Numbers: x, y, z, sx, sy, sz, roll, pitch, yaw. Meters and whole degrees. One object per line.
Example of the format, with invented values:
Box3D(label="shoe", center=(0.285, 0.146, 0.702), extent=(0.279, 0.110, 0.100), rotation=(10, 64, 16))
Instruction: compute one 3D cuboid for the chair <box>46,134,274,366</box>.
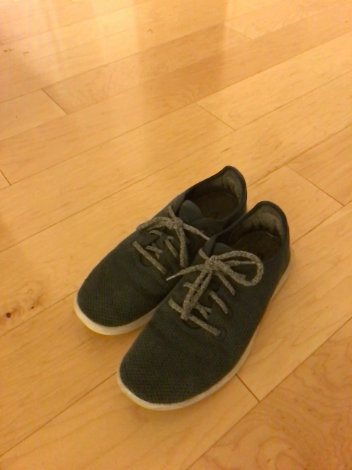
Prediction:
Box3D(label="chair", center=(-0.005, 0.004, 0.511), extent=(0.100, 0.099, 0.322), rotation=(36, 58, 17))

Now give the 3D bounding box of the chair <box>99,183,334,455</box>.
Box3D(label="chair", center=(0.062, 0.080, 0.458), extent=(0.110, 0.099, 0.302), rotation=(30, 57, 23))
